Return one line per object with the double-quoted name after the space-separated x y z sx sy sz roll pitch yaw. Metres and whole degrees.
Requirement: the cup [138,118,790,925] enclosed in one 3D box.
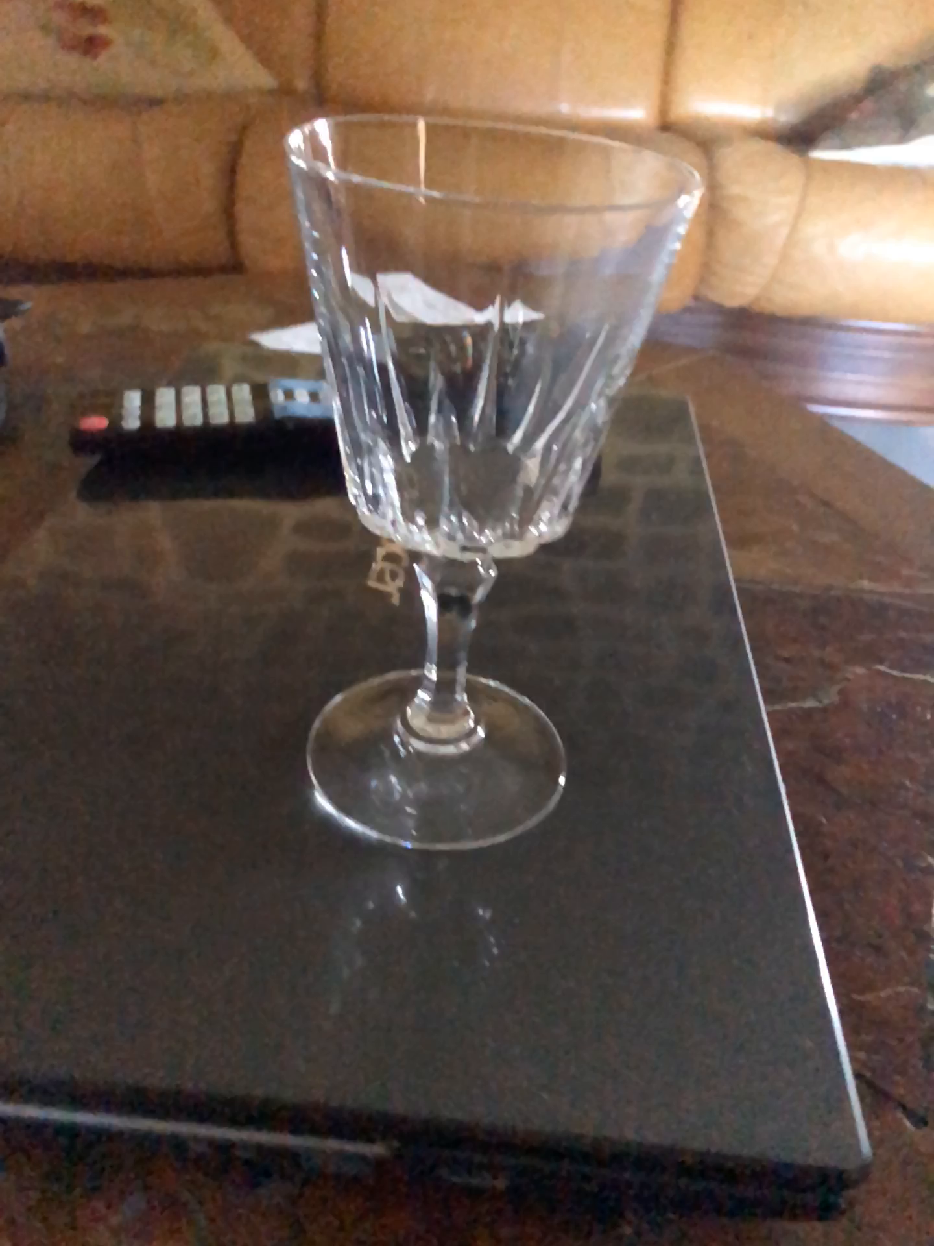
-0.008 -0.032 0.265 0.100 0.159 0.100 3 34 -2 "cup"
